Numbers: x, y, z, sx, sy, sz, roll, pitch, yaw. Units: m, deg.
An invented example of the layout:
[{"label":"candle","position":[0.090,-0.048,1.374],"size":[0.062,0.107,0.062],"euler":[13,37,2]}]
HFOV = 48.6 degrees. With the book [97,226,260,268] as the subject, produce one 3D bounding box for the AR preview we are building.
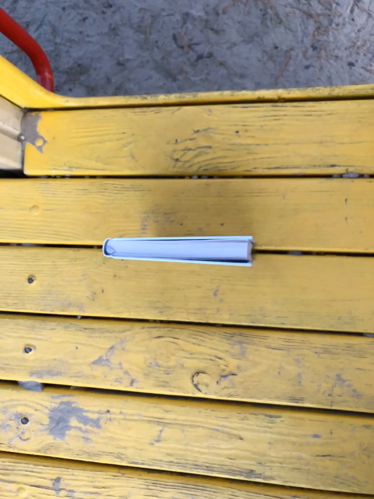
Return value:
[{"label":"book","position":[0.007,-0.003,0.496],"size":[0.154,0.210,0.030],"euler":[4,91,11]}]
